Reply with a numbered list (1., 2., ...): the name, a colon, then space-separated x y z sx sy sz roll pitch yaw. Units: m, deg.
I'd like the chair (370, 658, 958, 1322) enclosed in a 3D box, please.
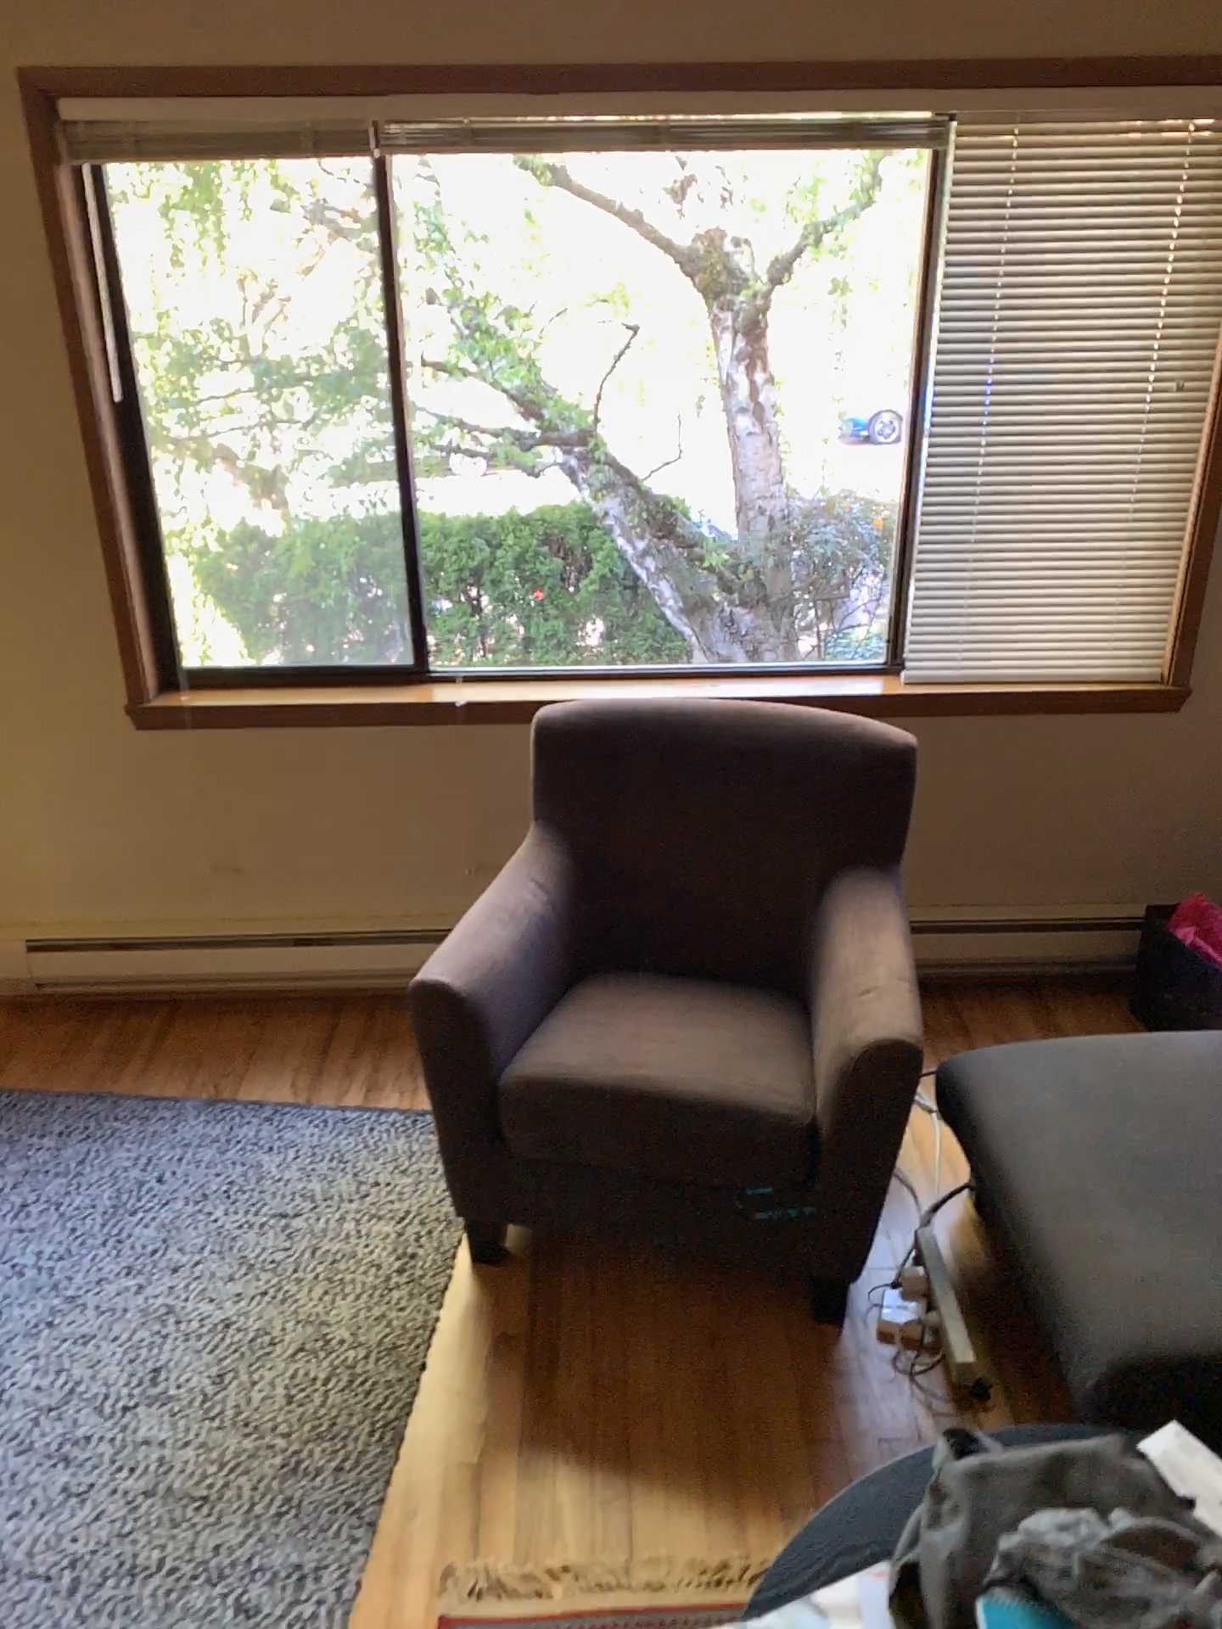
1. chair: 0.143 0.253 2.348 0.881 0.876 0.803 4 22 11
